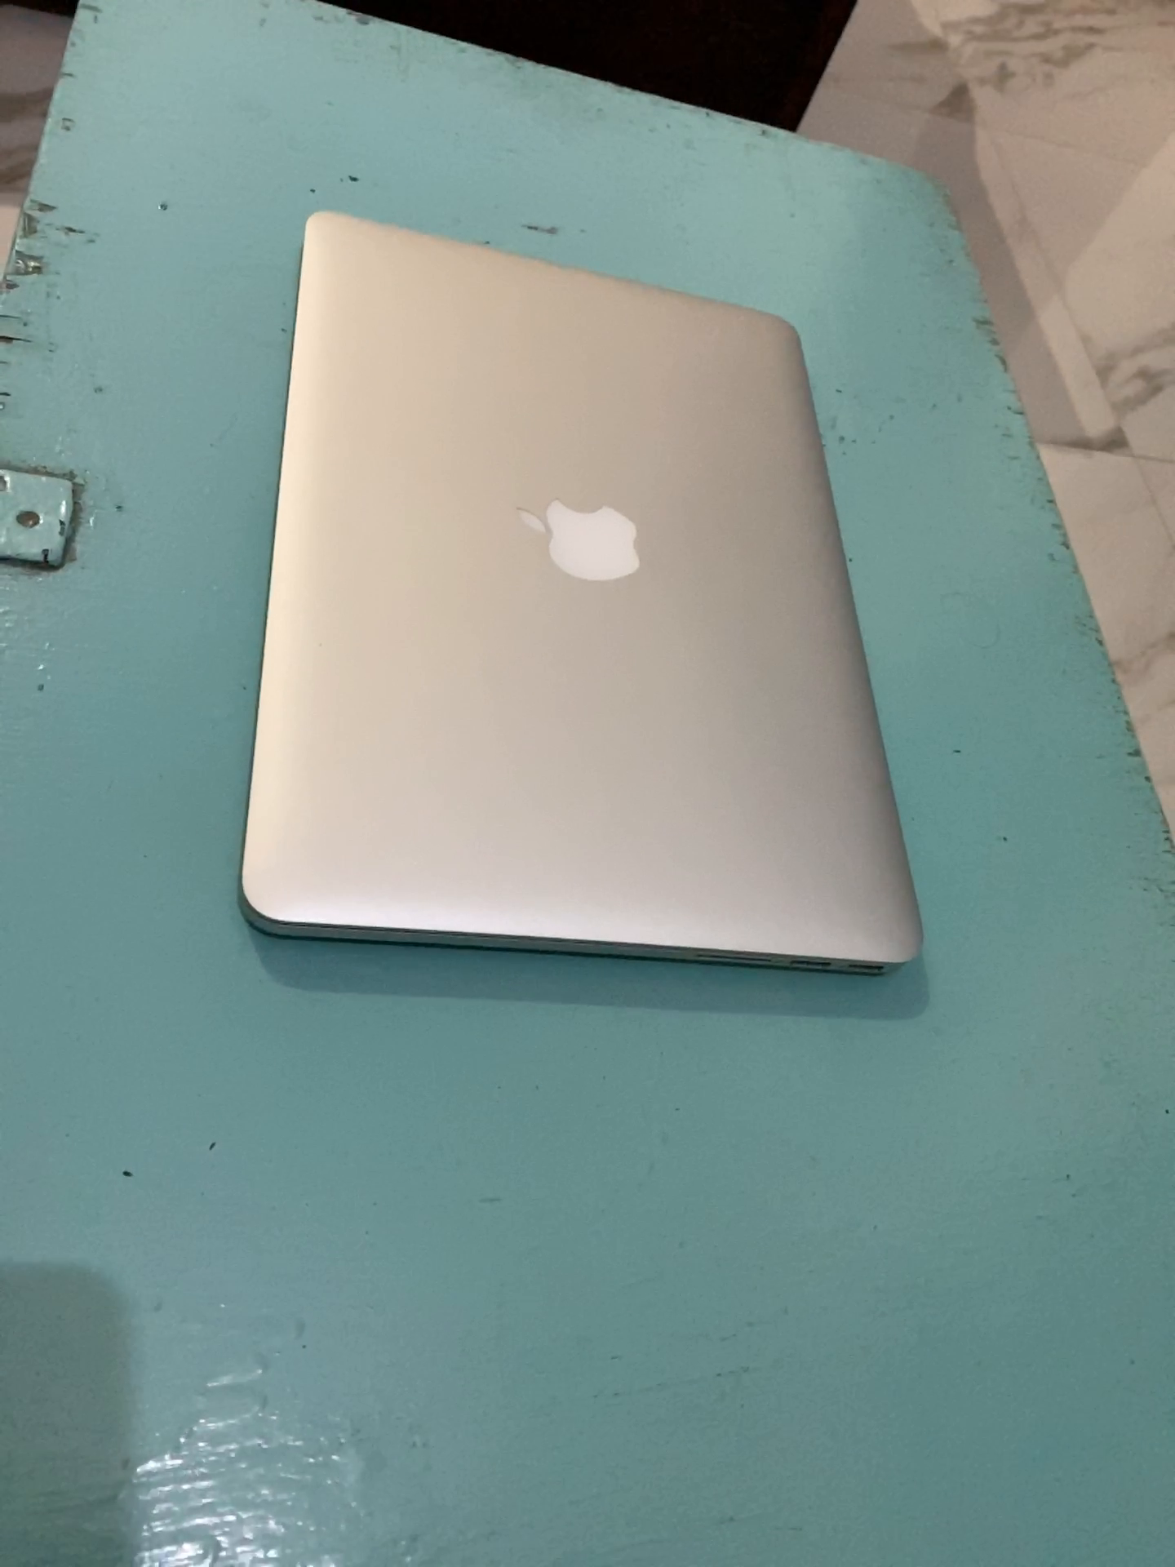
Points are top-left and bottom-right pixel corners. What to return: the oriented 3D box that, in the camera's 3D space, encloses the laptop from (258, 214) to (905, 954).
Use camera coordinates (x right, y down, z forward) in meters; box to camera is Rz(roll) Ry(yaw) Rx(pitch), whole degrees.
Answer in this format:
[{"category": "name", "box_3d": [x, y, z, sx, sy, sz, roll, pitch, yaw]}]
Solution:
[{"category": "laptop", "box_3d": [-0.006, -0.083, 0.440, 0.209, 0.007, 0.292, 6, 59, -19]}]
